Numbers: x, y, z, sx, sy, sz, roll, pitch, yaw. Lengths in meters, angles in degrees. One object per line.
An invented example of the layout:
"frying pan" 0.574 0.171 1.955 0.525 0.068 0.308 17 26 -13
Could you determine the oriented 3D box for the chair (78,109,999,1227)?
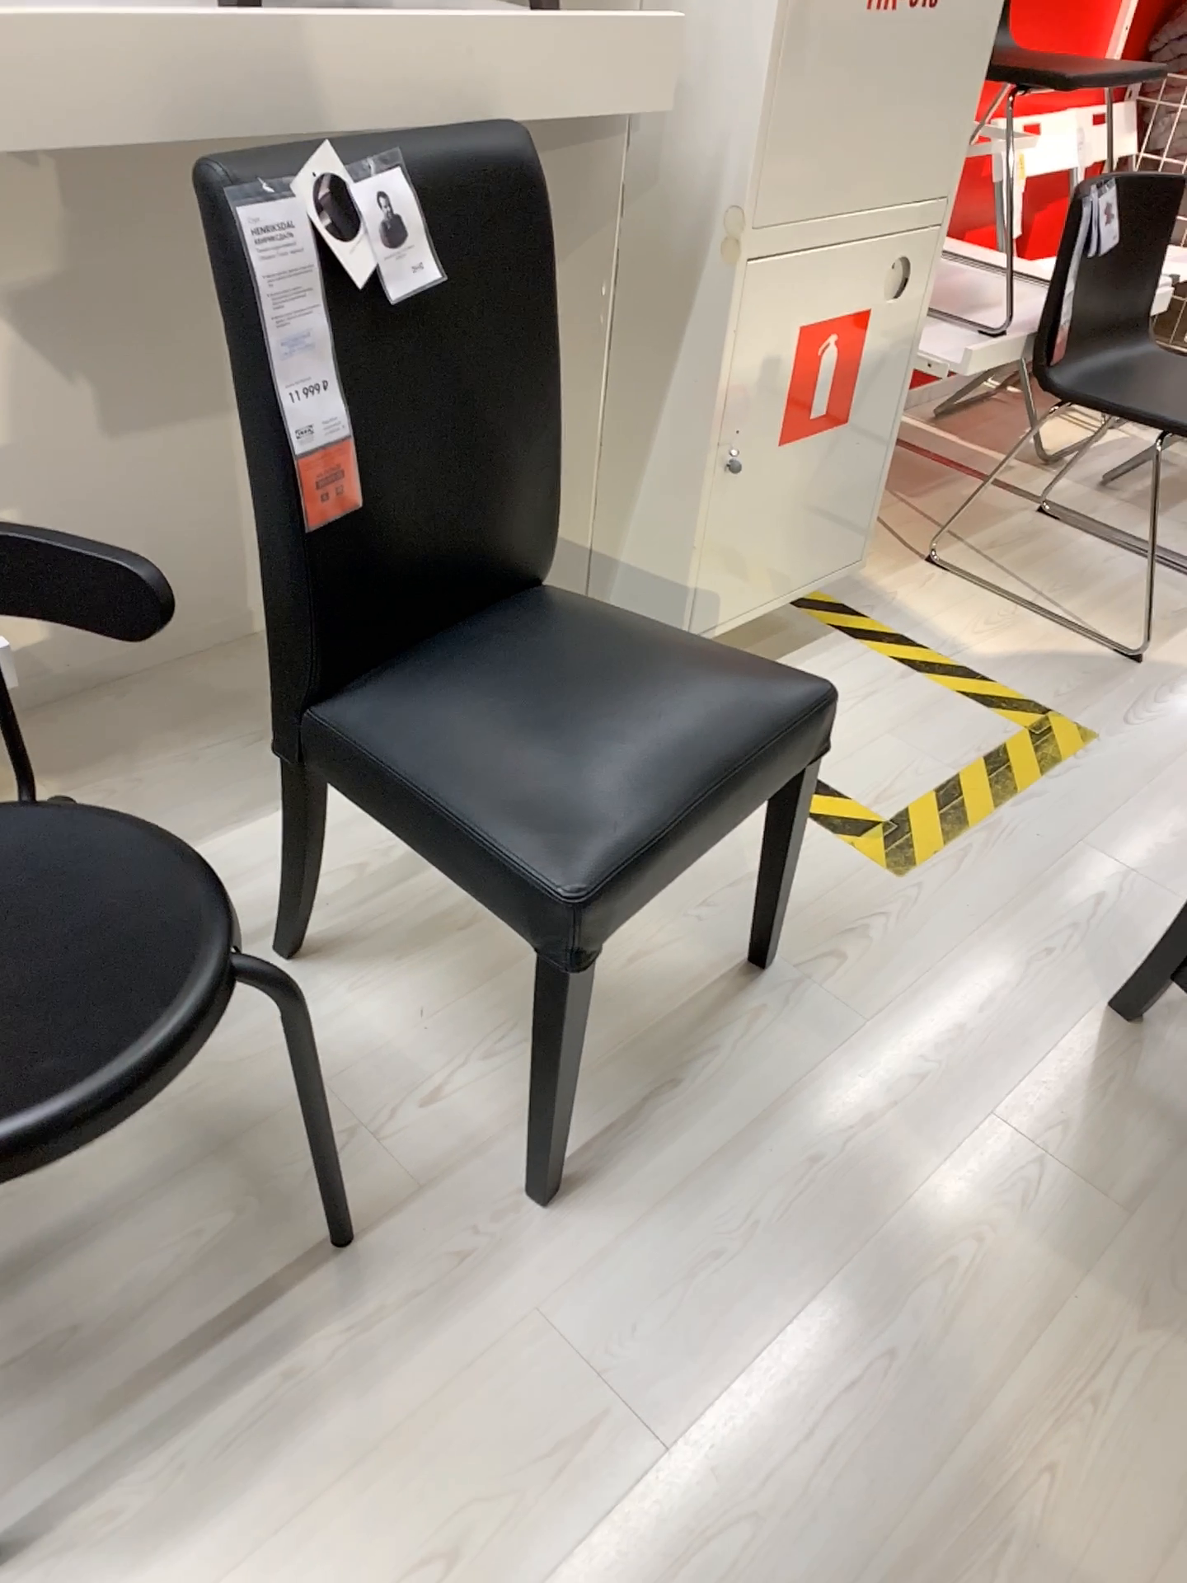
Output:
"chair" -0.069 -0.157 1.383 0.601 0.974 0.583 28 42 26
